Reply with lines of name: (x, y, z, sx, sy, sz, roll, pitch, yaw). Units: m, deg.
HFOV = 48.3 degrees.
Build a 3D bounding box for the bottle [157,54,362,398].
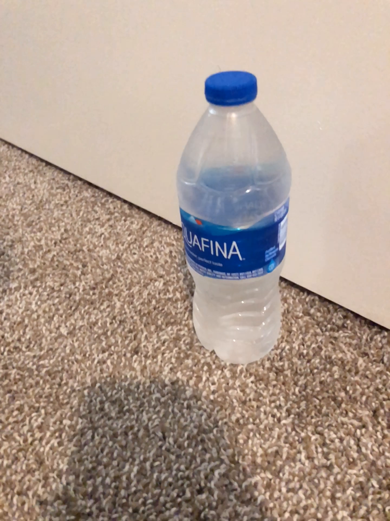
bottle: (0.036, -0.013, 0.270, 0.070, 0.189, 0.070, -2, 39, 2)
